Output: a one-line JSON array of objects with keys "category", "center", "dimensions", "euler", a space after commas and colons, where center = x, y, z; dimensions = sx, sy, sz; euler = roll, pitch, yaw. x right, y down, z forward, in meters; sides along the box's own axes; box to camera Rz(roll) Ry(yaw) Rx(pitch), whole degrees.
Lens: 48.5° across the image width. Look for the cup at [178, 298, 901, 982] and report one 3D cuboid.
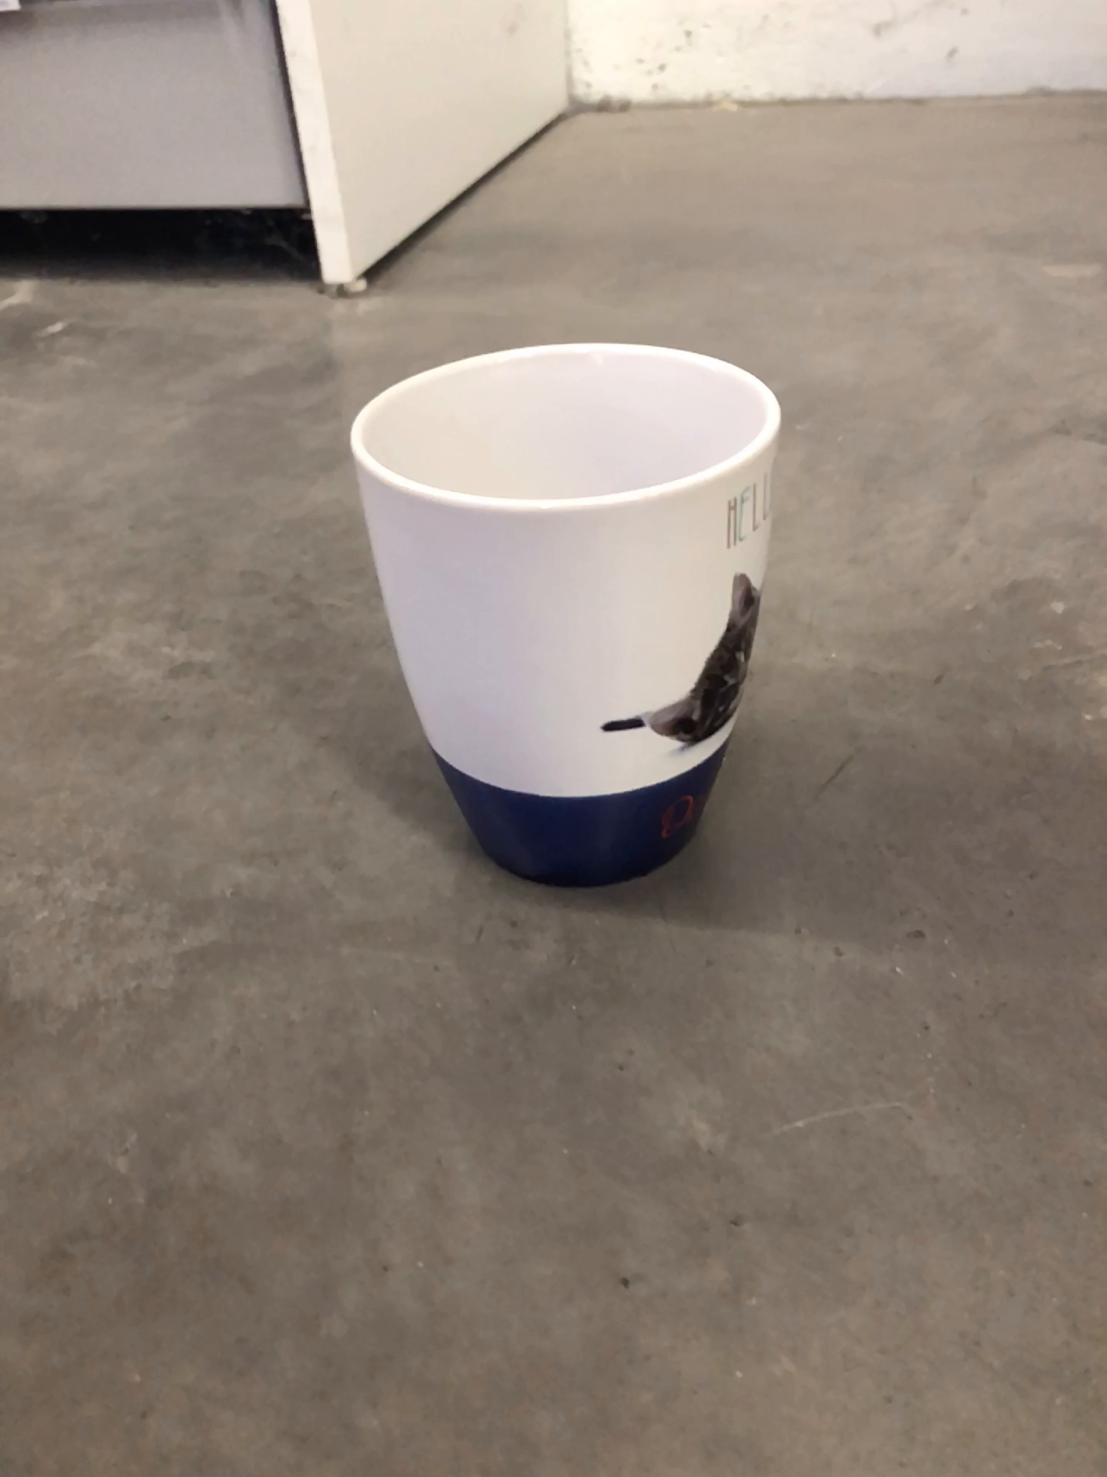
[{"category": "cup", "center": [0.005, -0.036, 0.302], "dimensions": [0.111, 0.098, 0.128], "euler": [17, 40, 27]}]
